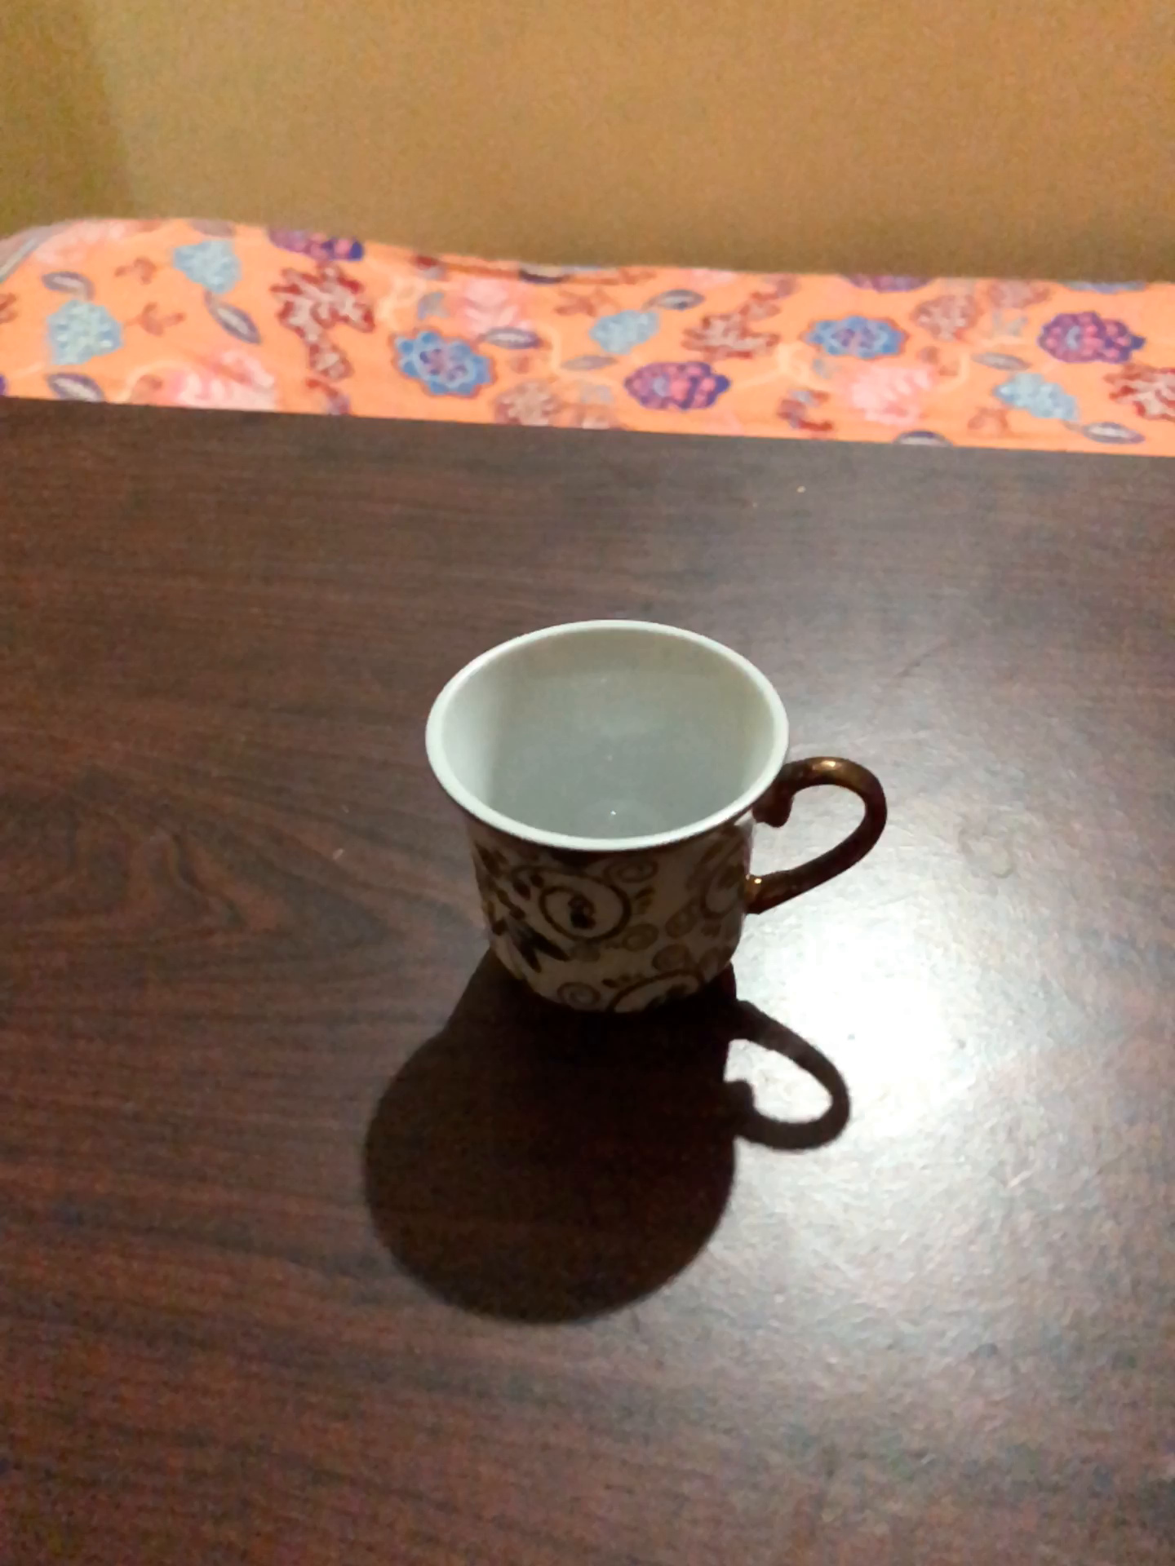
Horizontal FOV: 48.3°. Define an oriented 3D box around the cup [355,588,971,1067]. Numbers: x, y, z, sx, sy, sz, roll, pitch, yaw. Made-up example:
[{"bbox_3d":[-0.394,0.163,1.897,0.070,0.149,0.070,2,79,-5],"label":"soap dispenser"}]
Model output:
[{"bbox_3d":[0.014,0.005,0.234,0.090,0.050,0.070,0,41,5],"label":"cup"}]
